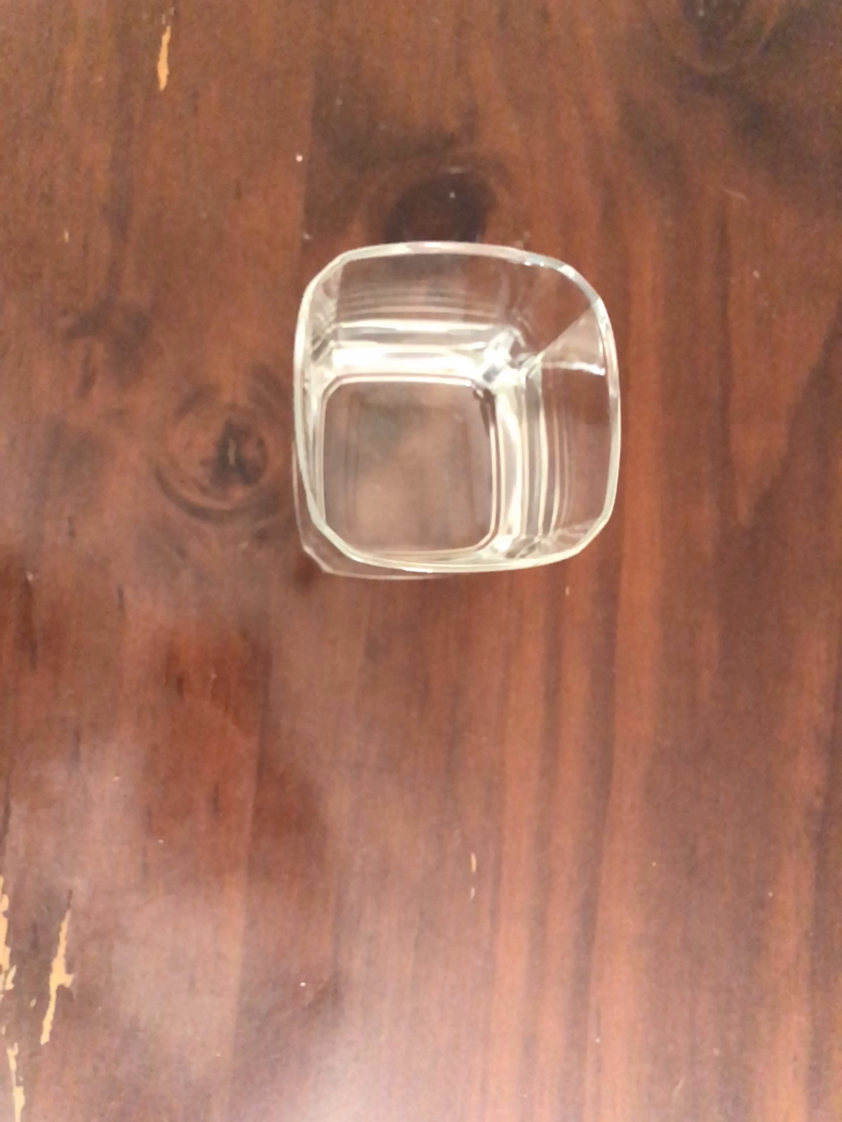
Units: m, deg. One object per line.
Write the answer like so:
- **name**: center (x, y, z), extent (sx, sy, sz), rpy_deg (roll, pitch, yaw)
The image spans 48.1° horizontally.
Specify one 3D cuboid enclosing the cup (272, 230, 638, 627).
- **cup**: center (0.002, -0.027, 0.253), extent (0.080, 0.085, 0.086), rpy_deg (1, 85, -10)
